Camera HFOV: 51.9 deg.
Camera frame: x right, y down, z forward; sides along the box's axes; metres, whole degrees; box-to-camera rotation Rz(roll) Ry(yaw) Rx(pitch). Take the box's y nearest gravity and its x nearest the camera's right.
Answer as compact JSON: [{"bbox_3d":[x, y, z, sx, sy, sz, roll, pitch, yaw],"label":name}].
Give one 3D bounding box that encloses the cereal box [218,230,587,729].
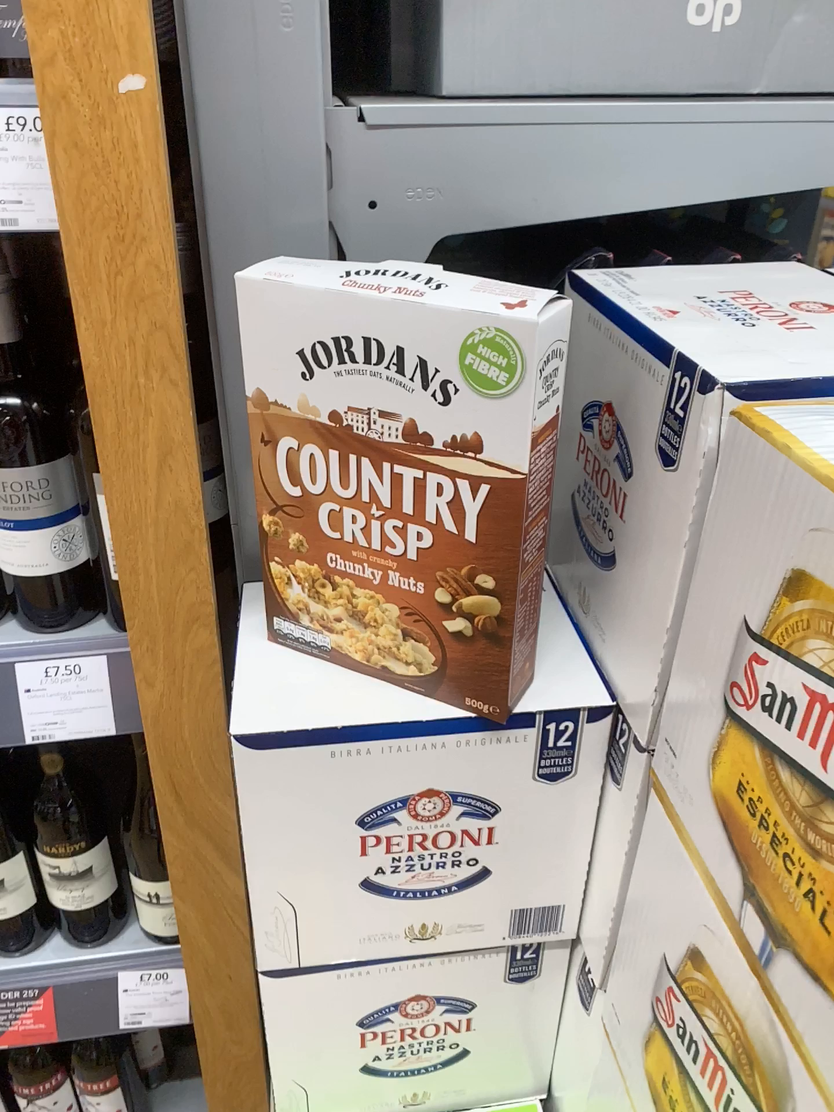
[{"bbox_3d":[-0.013,-0.044,0.506,0.190,0.258,0.050,16,32,24],"label":"cereal box"}]
